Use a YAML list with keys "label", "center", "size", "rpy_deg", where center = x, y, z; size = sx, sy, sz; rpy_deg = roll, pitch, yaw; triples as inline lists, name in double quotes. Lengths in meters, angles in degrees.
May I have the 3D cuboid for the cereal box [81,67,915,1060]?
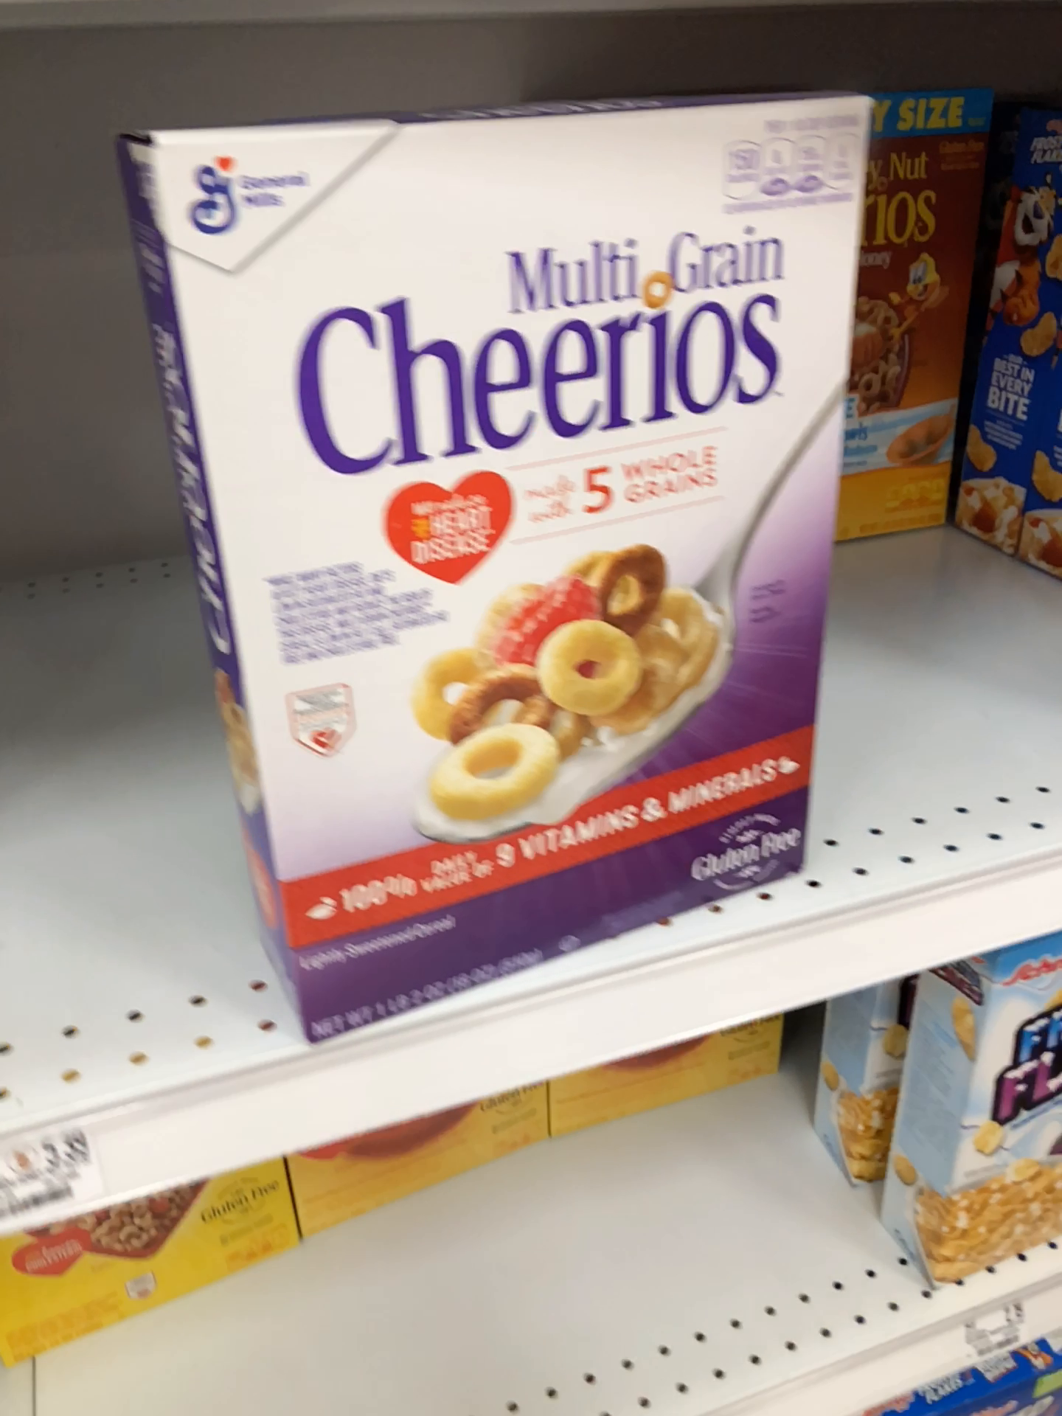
- label: "cereal box"
  center: [0.003, -0.054, 0.454]
  size: [0.260, 0.329, 0.070]
  rpy_deg: [-15, 32, -22]
